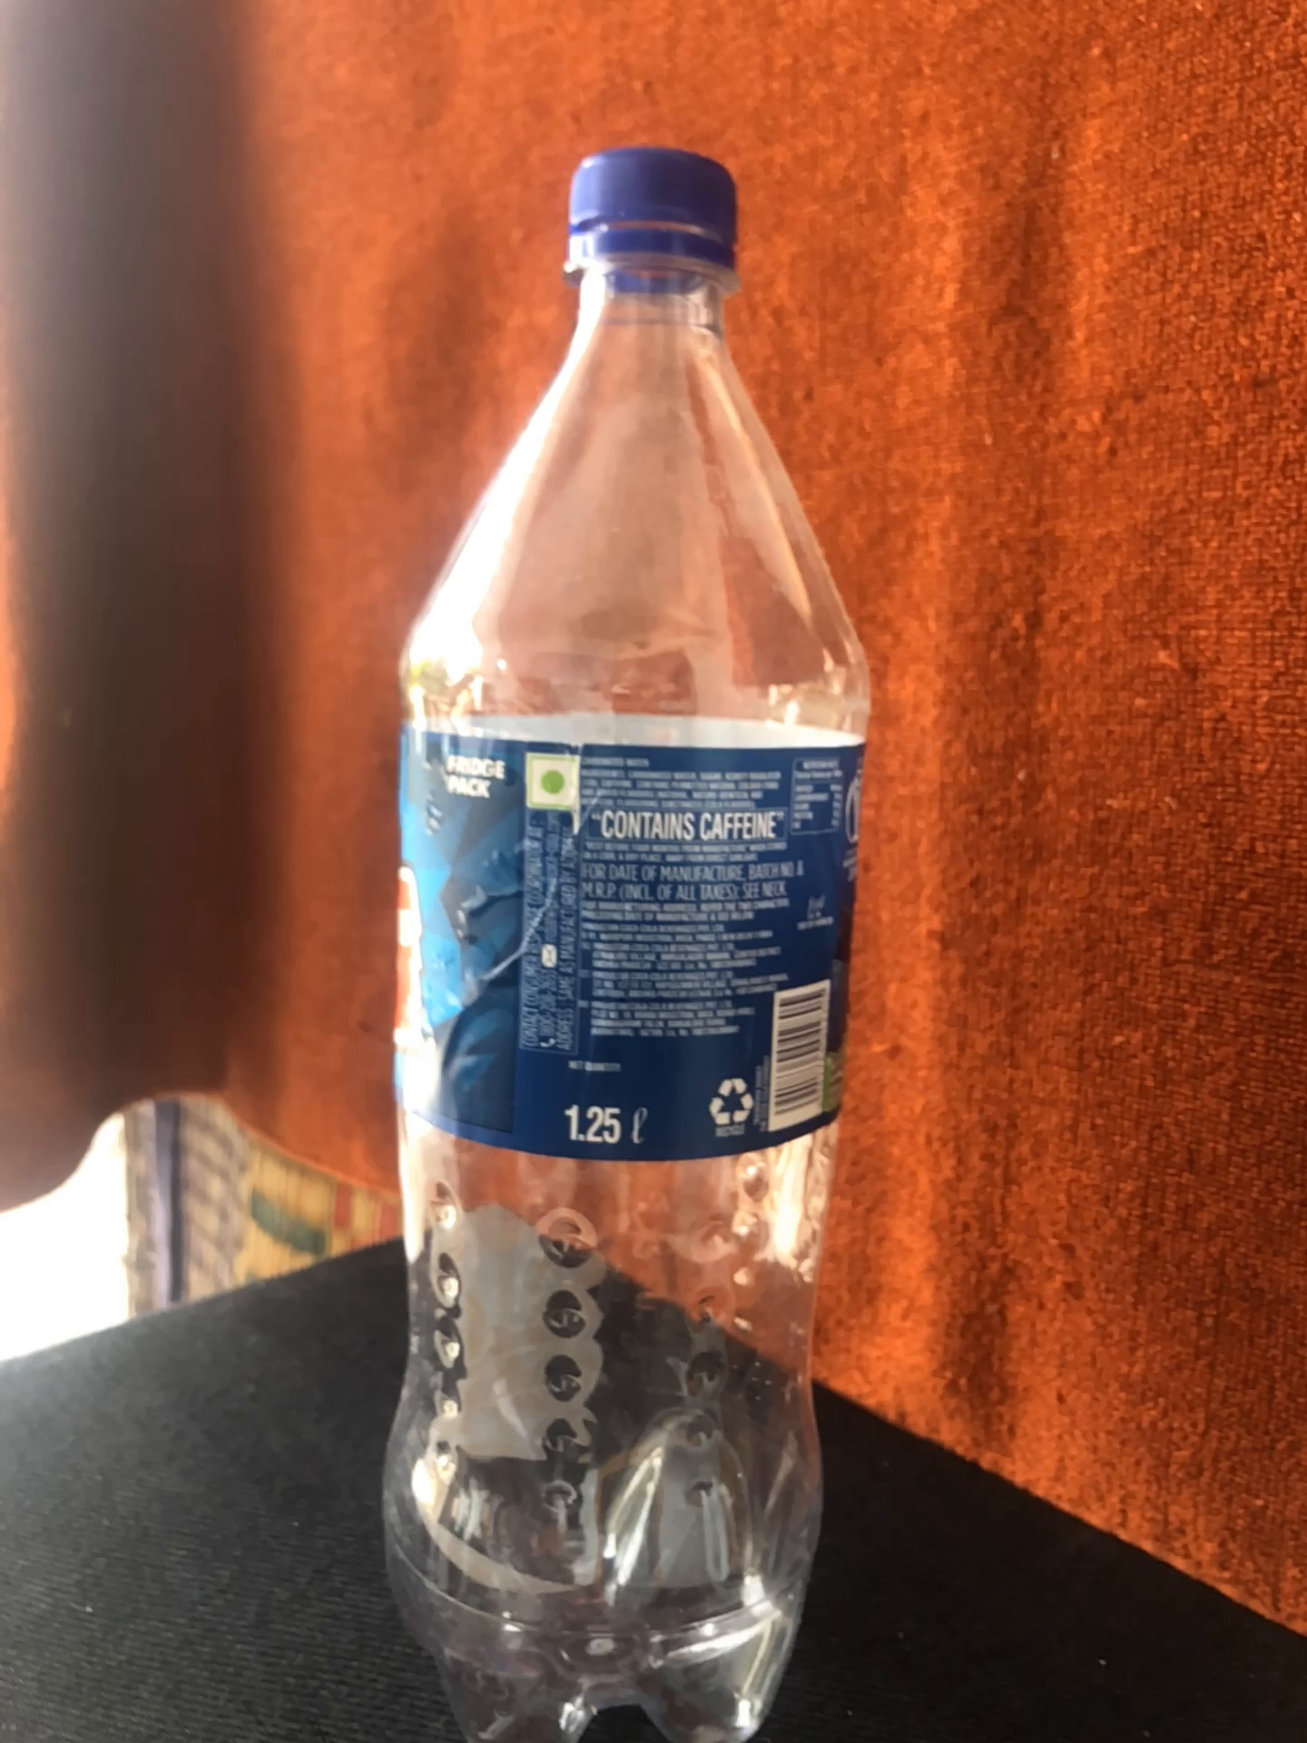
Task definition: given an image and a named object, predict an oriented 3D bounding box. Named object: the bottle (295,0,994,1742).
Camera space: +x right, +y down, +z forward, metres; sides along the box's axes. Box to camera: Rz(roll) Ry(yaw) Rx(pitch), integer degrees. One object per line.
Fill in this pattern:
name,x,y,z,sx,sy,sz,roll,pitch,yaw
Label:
bottle,-0.004,0.007,0.265,0.090,0.289,0.100,1,11,0
